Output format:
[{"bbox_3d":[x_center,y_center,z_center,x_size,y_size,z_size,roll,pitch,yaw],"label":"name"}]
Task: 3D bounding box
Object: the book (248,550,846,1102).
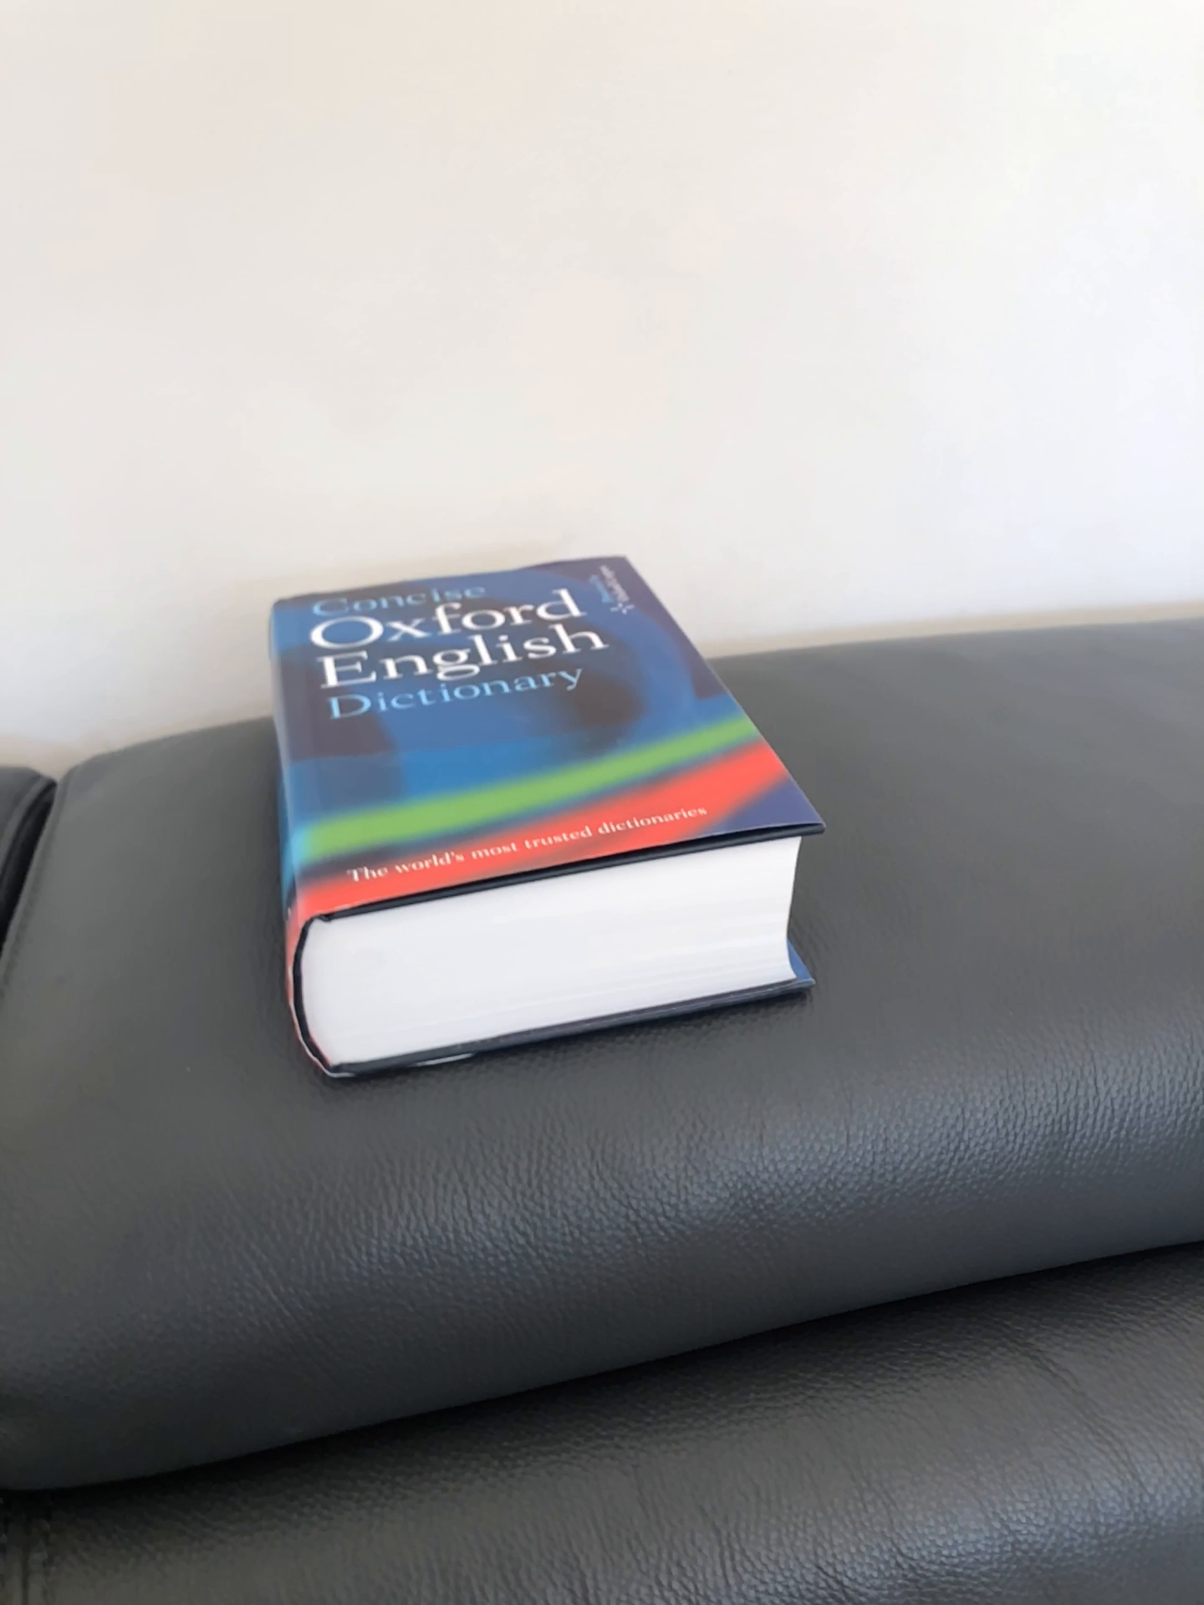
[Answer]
[{"bbox_3d":[-0.039,-0.013,0.509,0.170,0.070,0.251,-9,31,-12],"label":"book"}]
